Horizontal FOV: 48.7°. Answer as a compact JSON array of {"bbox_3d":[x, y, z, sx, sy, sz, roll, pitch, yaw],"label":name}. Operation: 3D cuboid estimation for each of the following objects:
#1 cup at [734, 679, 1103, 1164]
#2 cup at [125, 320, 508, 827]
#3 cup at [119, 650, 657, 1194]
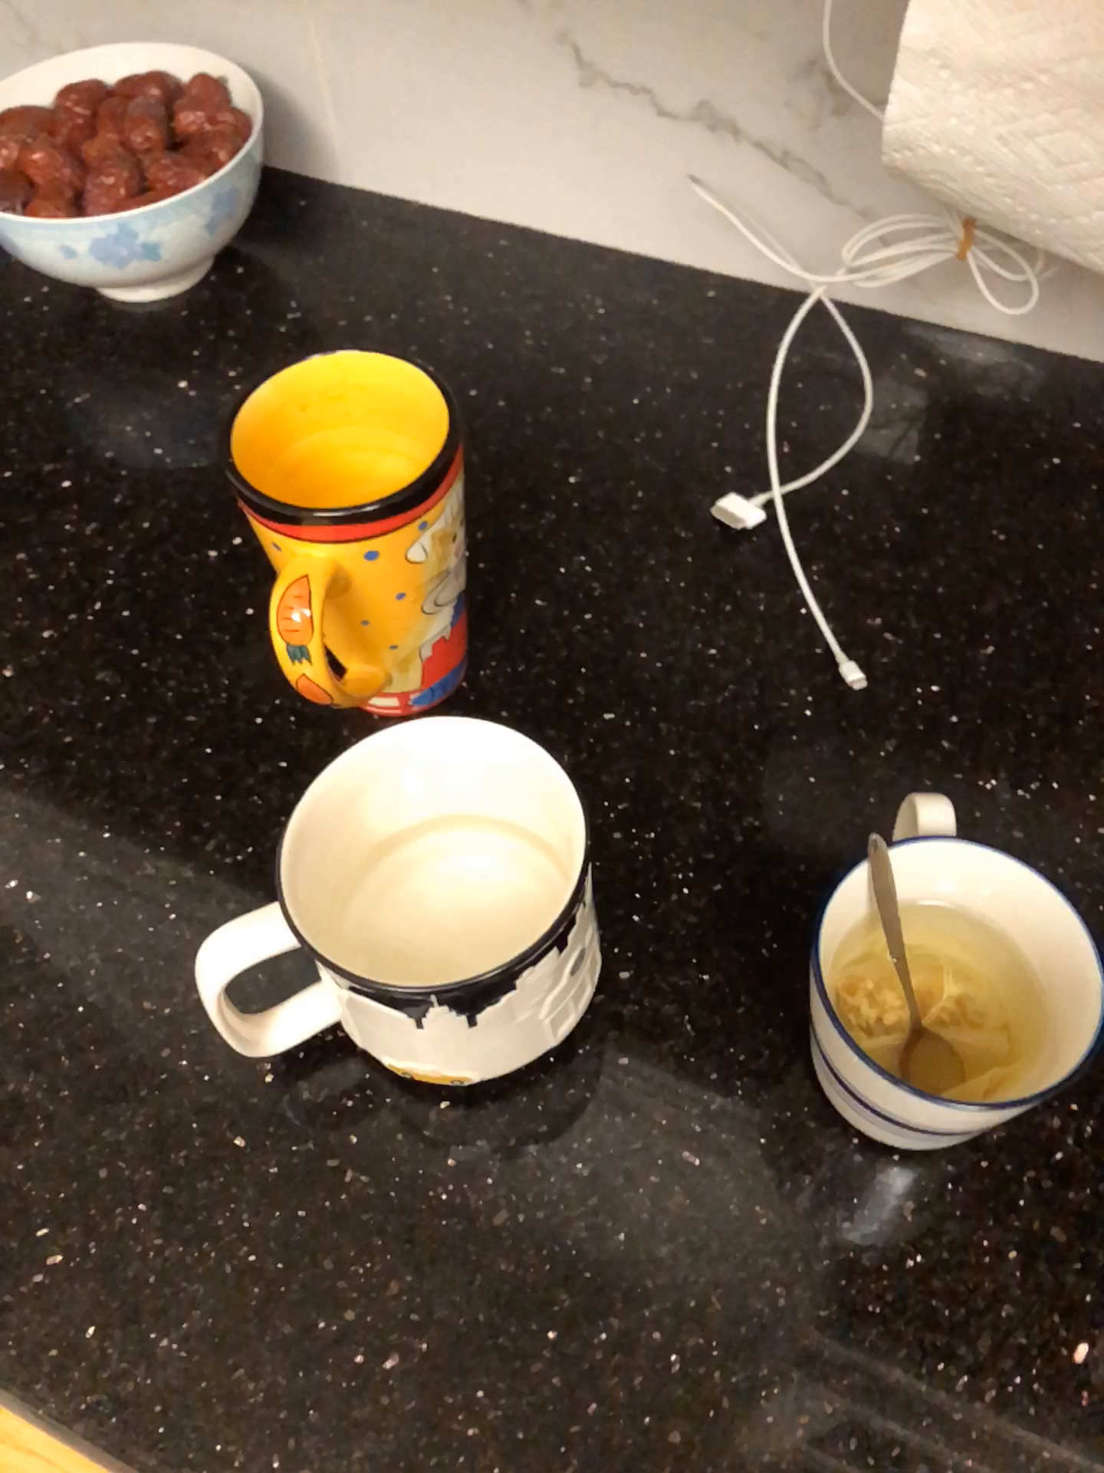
[{"bbox_3d":[0.112,0.061,0.399,0.090,0.090,0.130,-1,56,3],"label":"cup"},{"bbox_3d":[-0.079,-0.062,0.478,0.090,0.130,0.141,5,57,7],"label":"cup"},{"bbox_3d":[-0.053,0.064,0.429,0.140,0.090,0.110,-27,59,-14],"label":"cup"}]
